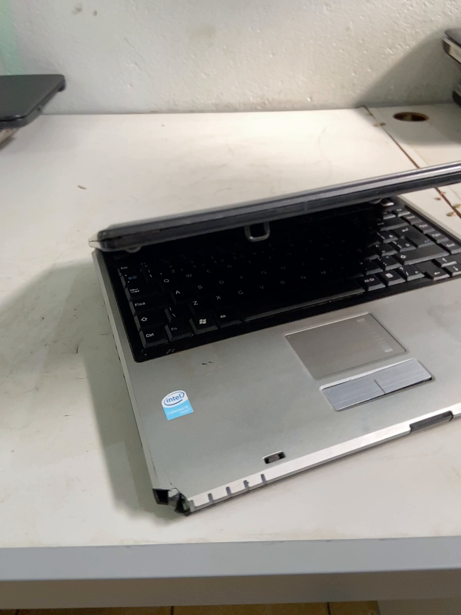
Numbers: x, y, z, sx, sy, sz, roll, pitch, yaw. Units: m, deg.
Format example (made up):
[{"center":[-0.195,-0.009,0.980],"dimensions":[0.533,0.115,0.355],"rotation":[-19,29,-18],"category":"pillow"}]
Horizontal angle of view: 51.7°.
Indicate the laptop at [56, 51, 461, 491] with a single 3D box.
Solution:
[{"center":[0.068,-0.067,0.338],"dimensions":[0.317,0.130,0.255],"rotation":[-14,40,-14],"category":"laptop"}]
